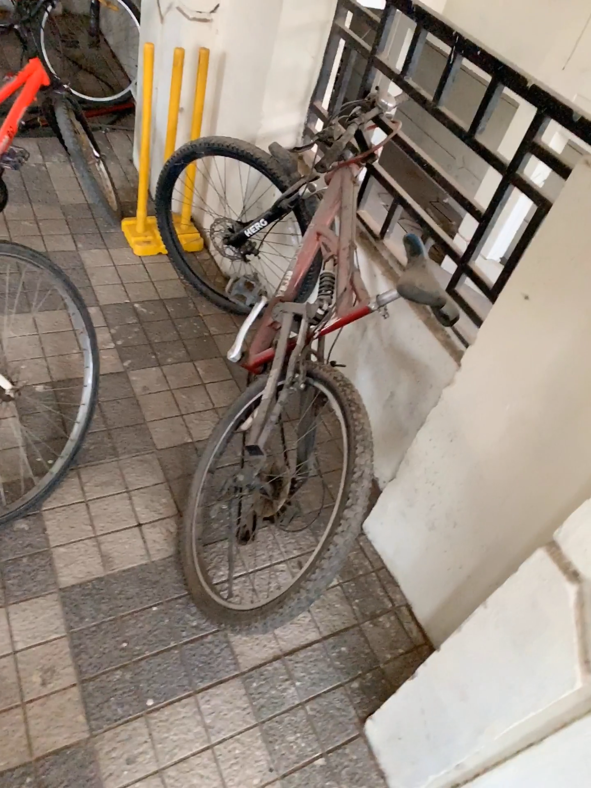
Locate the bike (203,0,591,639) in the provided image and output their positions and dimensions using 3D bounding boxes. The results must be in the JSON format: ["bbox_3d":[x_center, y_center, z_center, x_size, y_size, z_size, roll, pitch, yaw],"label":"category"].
[{"bbox_3d":[0.199,-0.330,1.621,0.608,0.831,1.469,-1,55,-20],"label":"bike"}]
